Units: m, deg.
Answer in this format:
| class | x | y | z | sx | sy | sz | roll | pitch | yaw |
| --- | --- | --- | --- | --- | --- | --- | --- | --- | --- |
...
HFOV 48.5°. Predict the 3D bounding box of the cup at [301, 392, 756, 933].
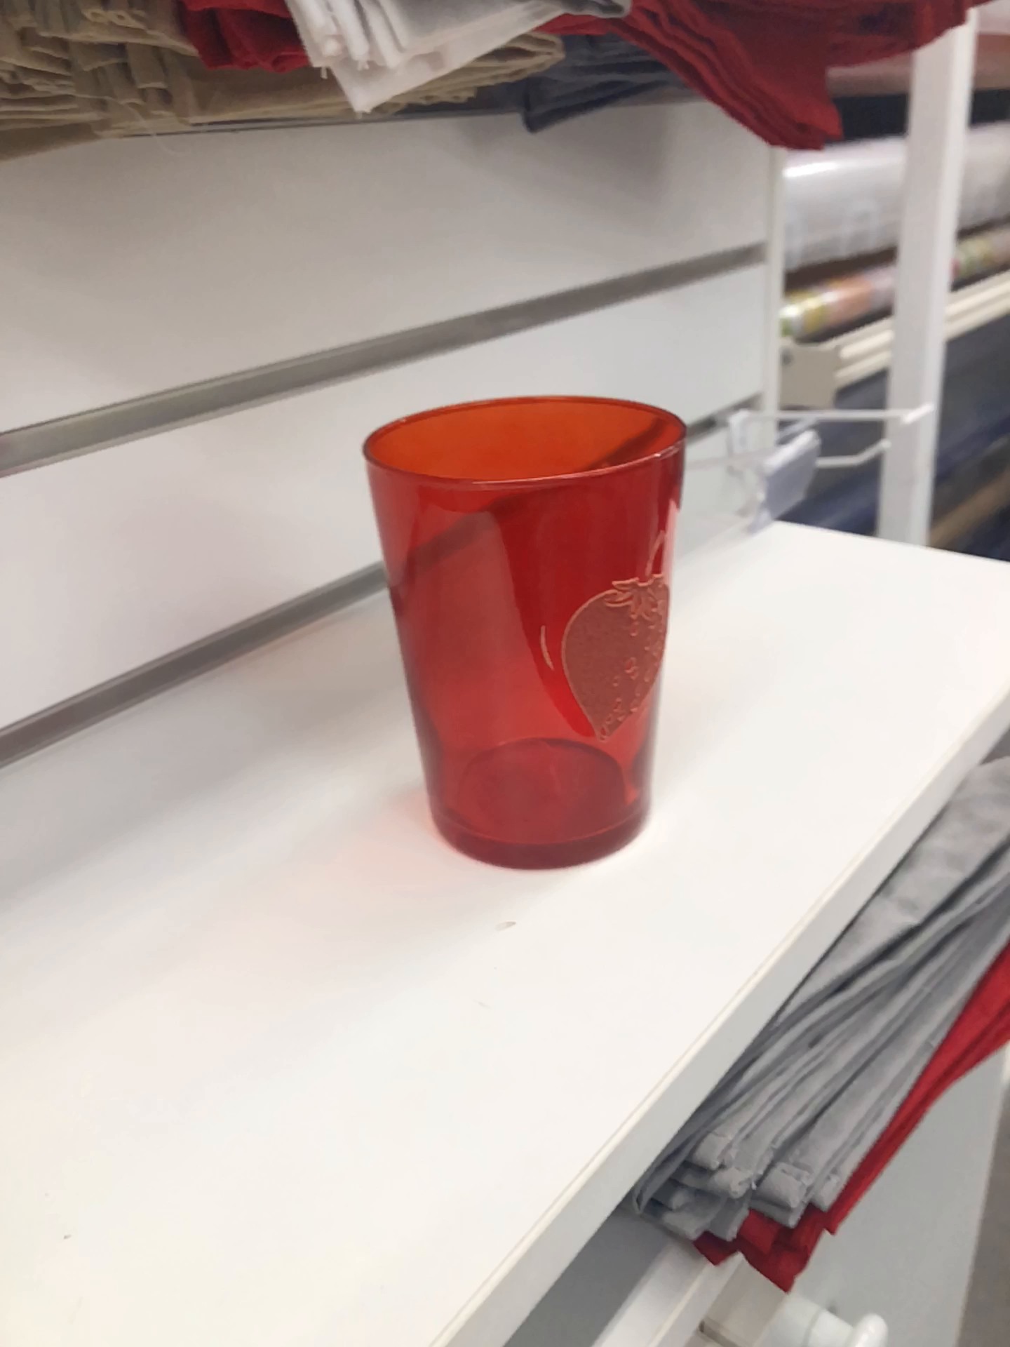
| class | x | y | z | sx | sy | sz | roll | pitch | yaw |
| --- | --- | --- | --- | --- | --- | --- | --- | --- | --- |
| cup | 0.011 | -0.011 | 0.340 | 0.091 | 0.121 | 0.092 | -3 | 26 | 1 |
